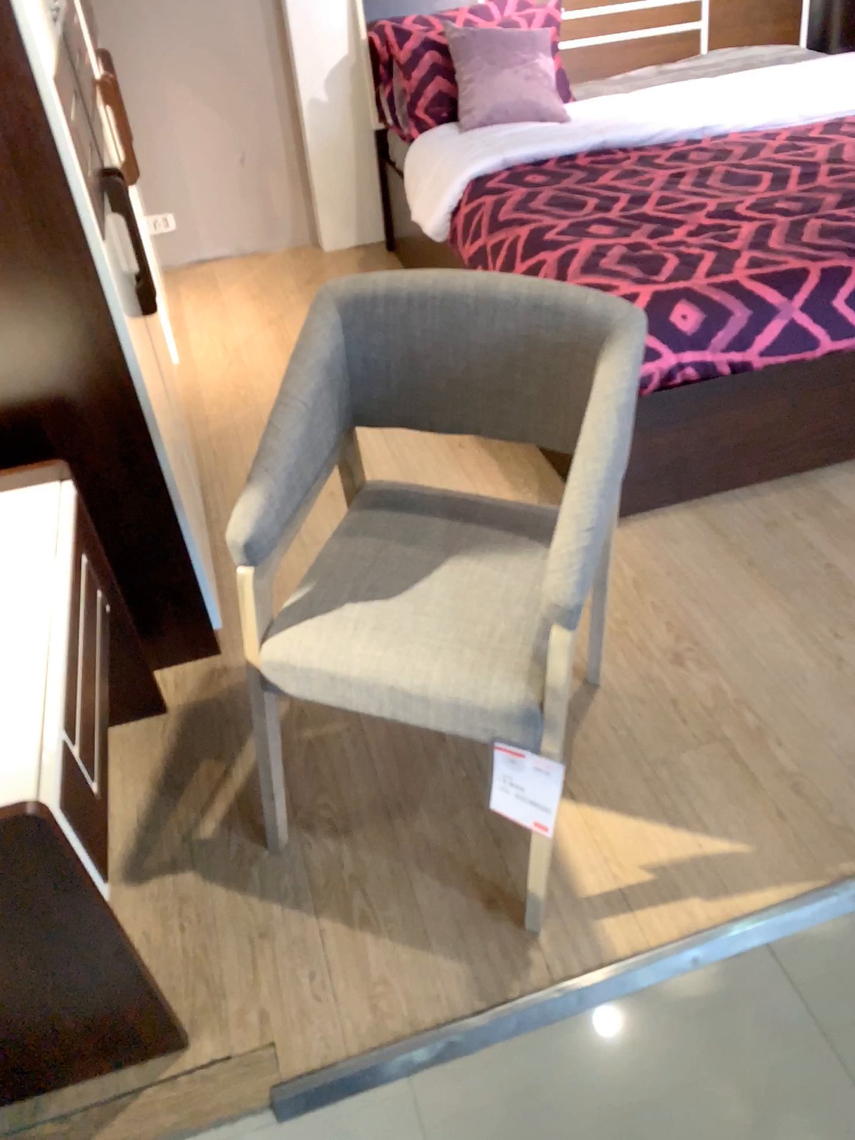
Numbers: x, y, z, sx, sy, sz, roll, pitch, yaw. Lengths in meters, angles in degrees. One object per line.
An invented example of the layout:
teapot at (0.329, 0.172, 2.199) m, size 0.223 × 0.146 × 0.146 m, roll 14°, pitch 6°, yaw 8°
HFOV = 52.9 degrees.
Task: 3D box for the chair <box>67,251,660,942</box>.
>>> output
chair at (-0.007, 0.030, 1.323) m, size 0.560 × 0.797 × 0.582 m, roll 9°, pitch 43°, yaw 17°
